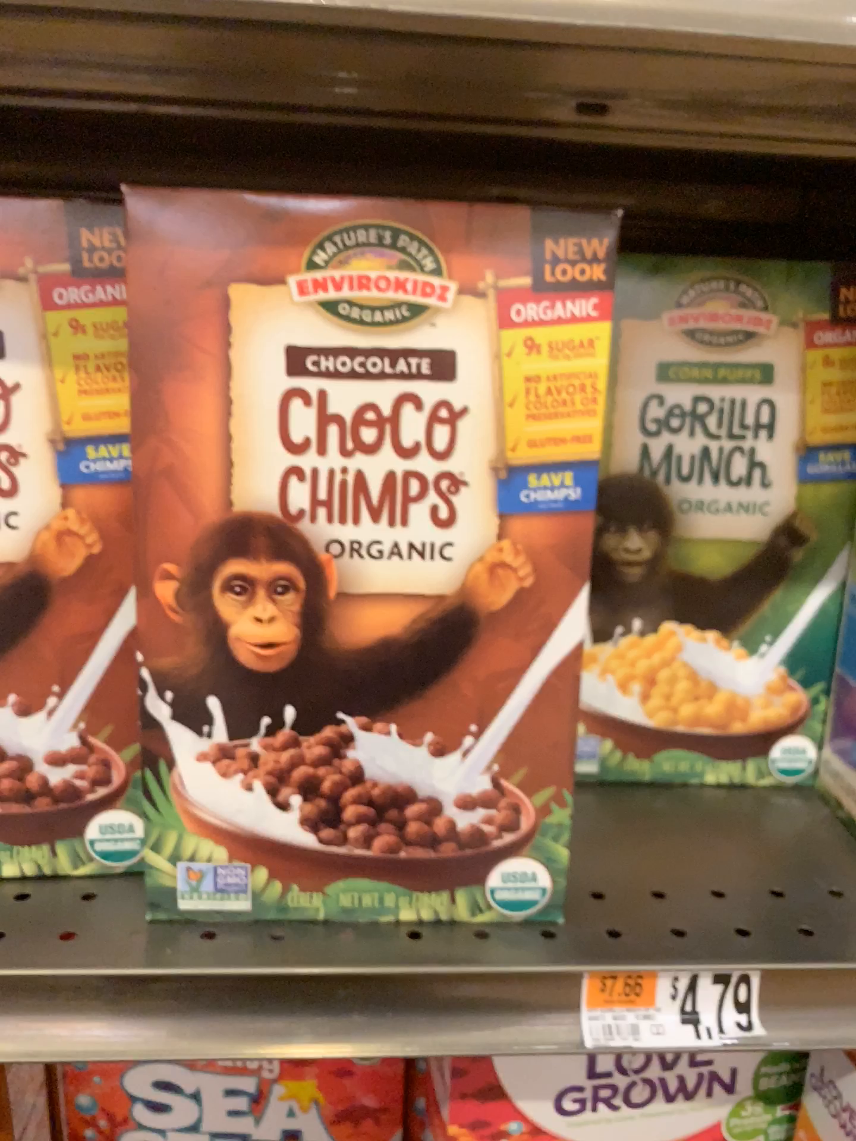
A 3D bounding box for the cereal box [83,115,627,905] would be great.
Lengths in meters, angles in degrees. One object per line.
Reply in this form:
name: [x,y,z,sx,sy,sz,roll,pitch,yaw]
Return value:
cereal box: [-0.029,-0.013,0.337,0.170,0.269,0.060,2,13,-4]
